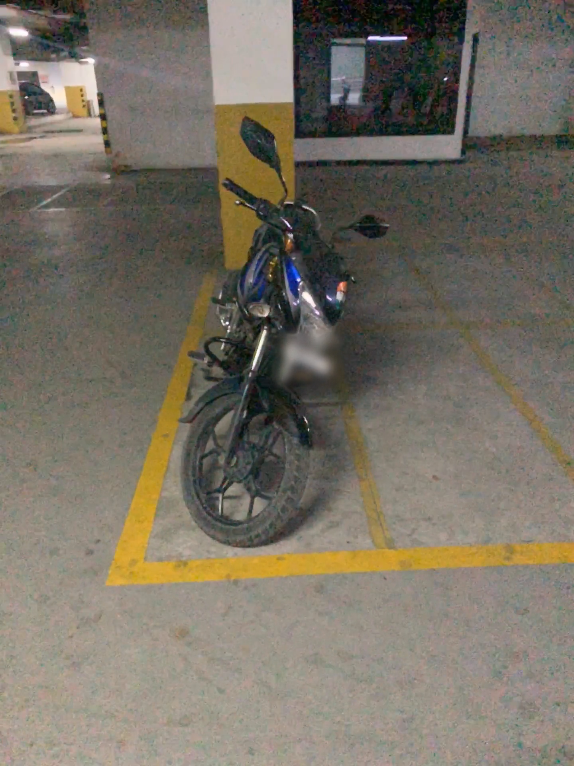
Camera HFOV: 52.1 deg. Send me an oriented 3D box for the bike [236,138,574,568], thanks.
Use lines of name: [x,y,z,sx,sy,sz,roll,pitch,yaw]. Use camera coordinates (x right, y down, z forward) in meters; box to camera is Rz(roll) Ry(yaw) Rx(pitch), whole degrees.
bike: [0.254,-0.405,2.726,0.850,1.205,2.223,-3,26,-4]
